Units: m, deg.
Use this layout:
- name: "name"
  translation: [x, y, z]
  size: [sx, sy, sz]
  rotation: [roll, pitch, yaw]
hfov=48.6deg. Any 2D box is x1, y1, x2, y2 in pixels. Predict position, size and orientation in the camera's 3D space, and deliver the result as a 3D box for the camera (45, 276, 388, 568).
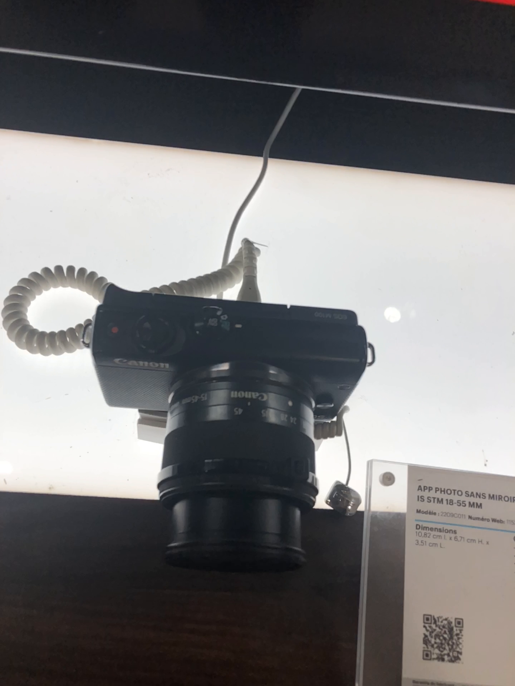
- name: "camera"
  translation: [-0.015, 0.036, 0.242]
  size: [0.112, 0.071, 0.094]
  rotation: [5, 57, -4]
